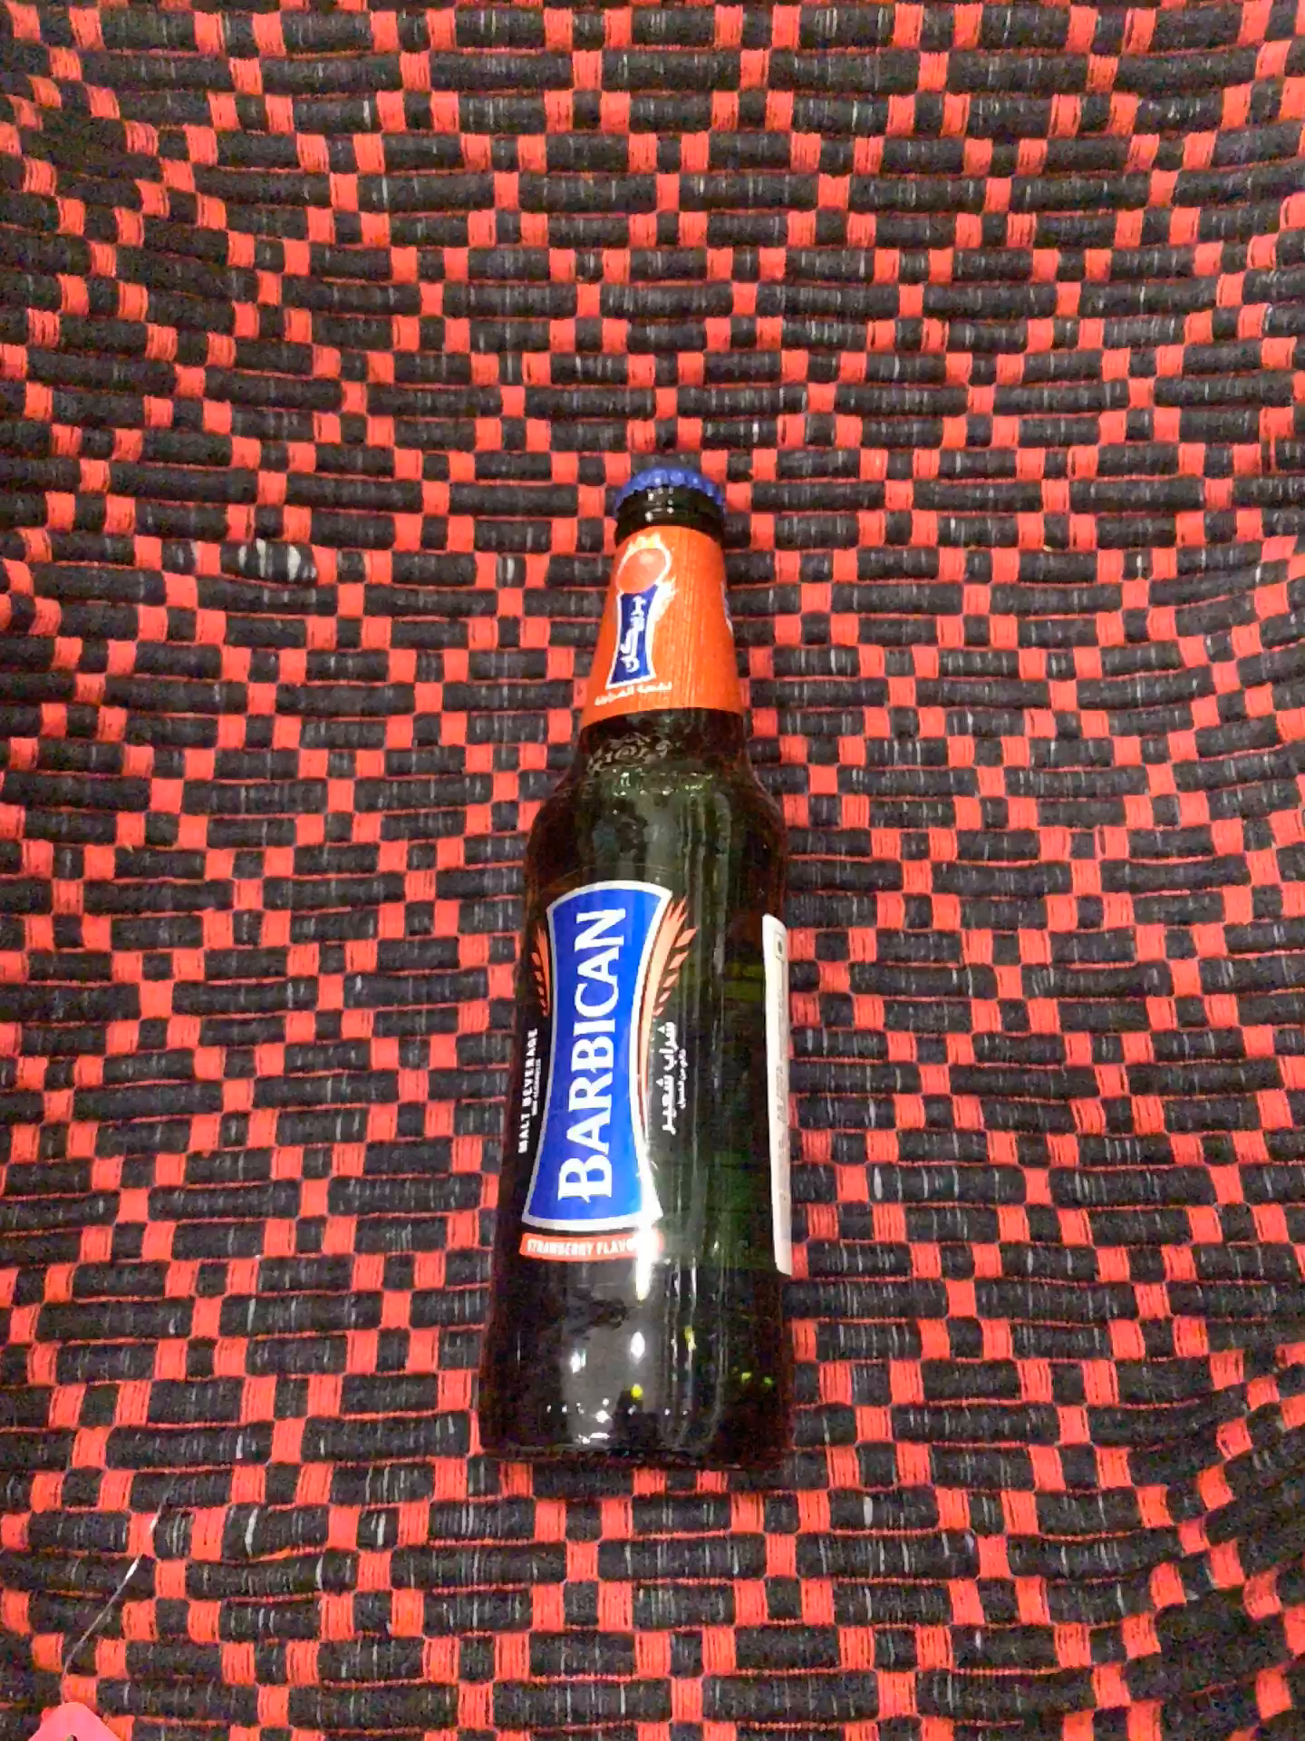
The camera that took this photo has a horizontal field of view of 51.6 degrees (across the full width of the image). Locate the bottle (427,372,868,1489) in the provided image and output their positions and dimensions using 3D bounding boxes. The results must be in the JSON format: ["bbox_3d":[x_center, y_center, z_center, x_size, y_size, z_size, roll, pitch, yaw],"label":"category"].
[{"bbox_3d":[0.003,0.009,0.286,0.060,0.070,0.220,-7,64,16],"label":"bottle"}]
